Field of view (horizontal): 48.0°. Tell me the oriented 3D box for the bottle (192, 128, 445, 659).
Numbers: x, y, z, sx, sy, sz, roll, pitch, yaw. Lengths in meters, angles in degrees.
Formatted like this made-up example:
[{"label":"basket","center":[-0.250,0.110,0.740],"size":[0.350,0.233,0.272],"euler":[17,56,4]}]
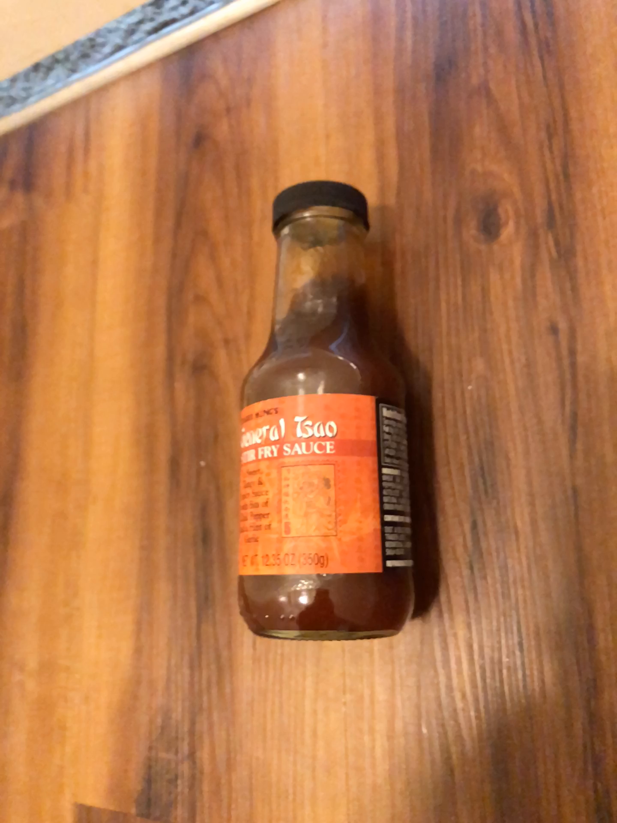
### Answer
[{"label":"bottle","center":[0.004,-0.003,0.269],"size":[0.069,0.060,0.180],"euler":[-10,73,33]}]
